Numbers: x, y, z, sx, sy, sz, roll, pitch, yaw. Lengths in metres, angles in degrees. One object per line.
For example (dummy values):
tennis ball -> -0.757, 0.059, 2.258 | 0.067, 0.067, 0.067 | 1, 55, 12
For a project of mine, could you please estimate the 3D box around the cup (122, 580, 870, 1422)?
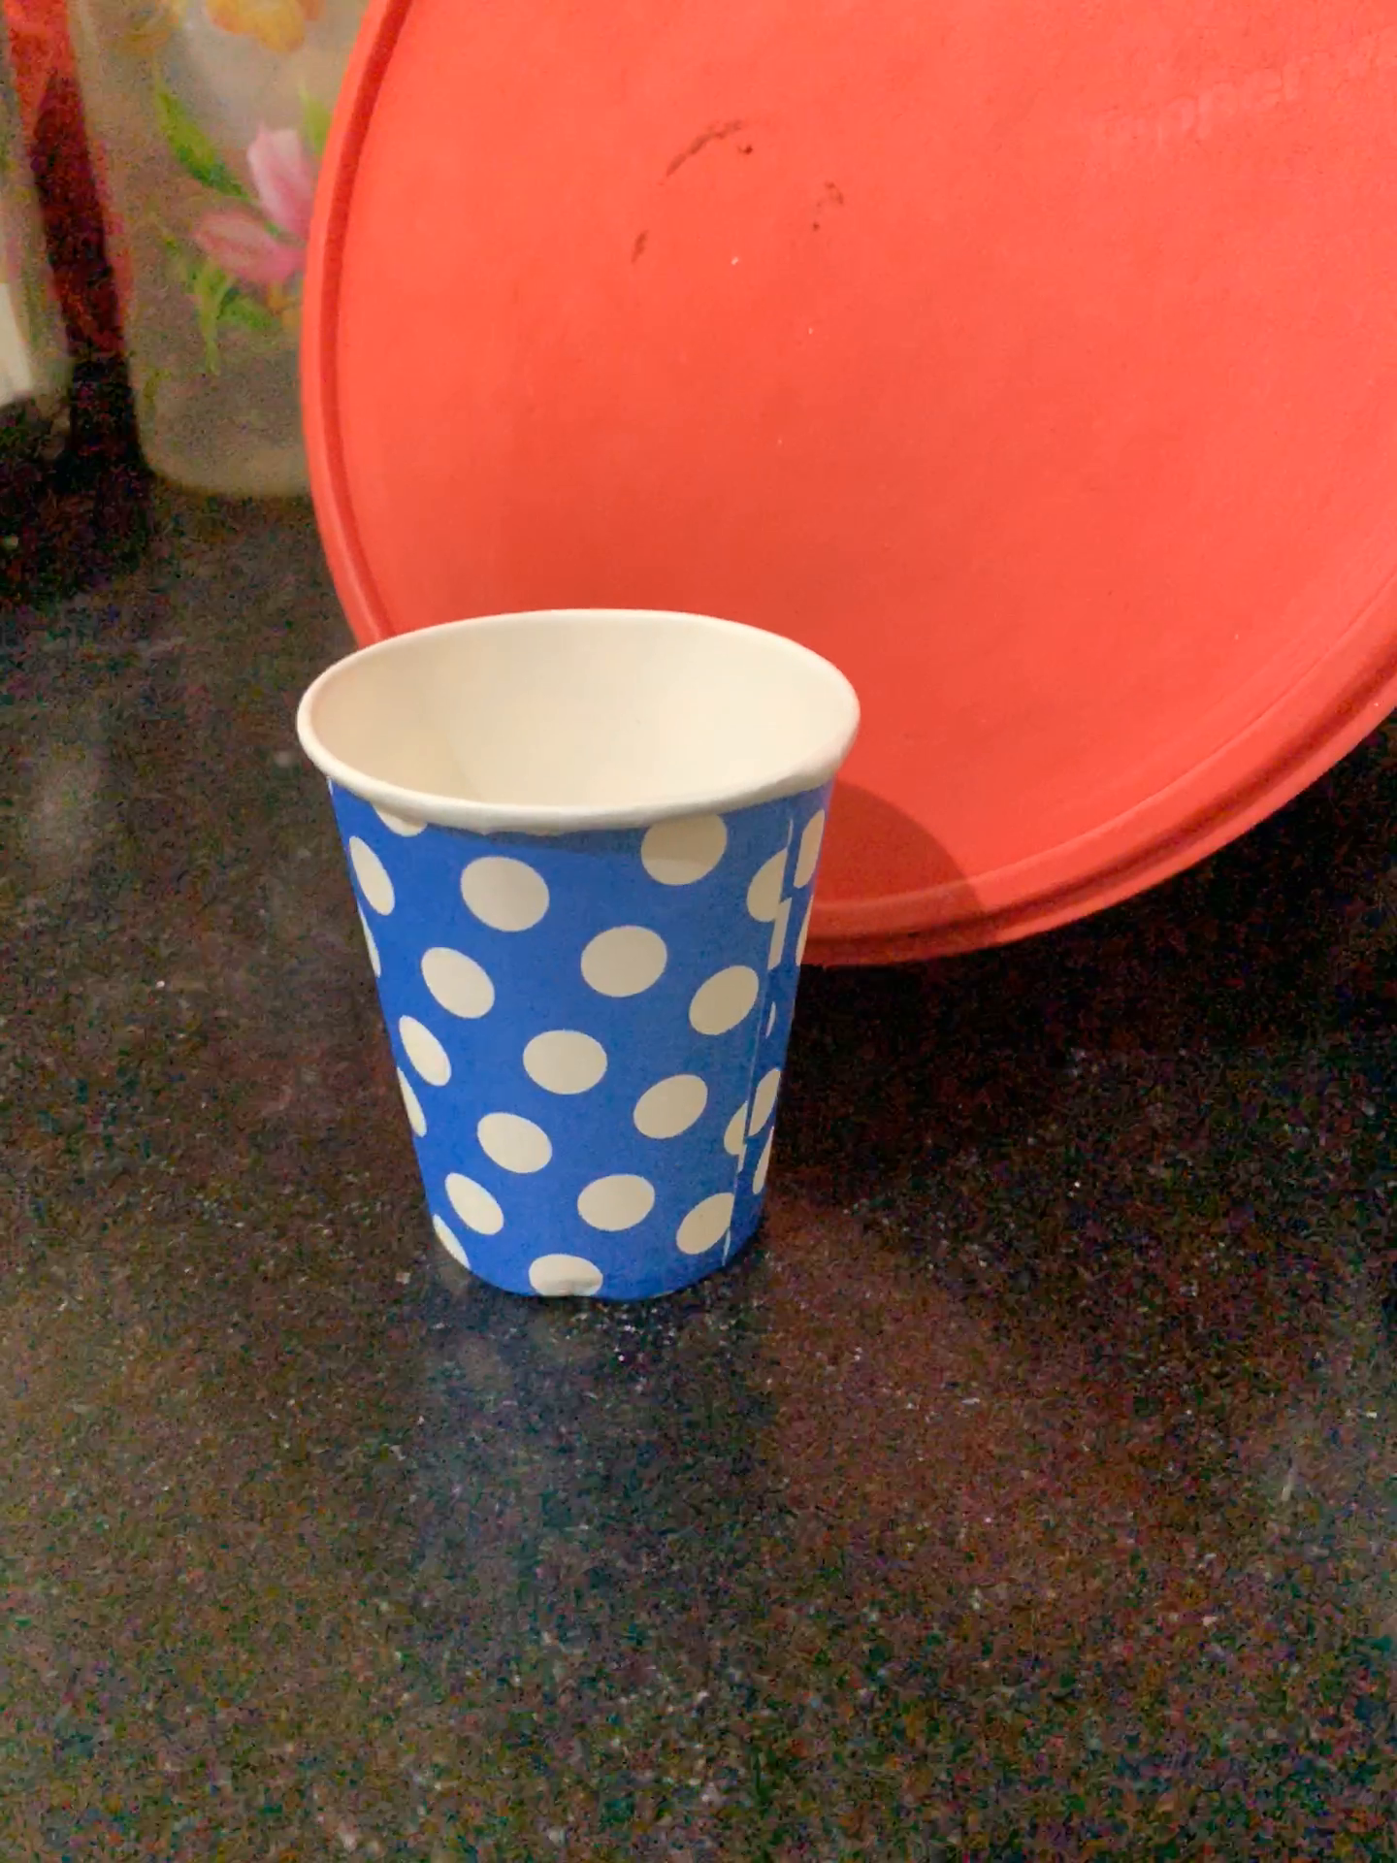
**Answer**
cup -> -0.021, 0.004, 0.201 | 0.070, 0.079, 0.071 | 1, 29, -1
